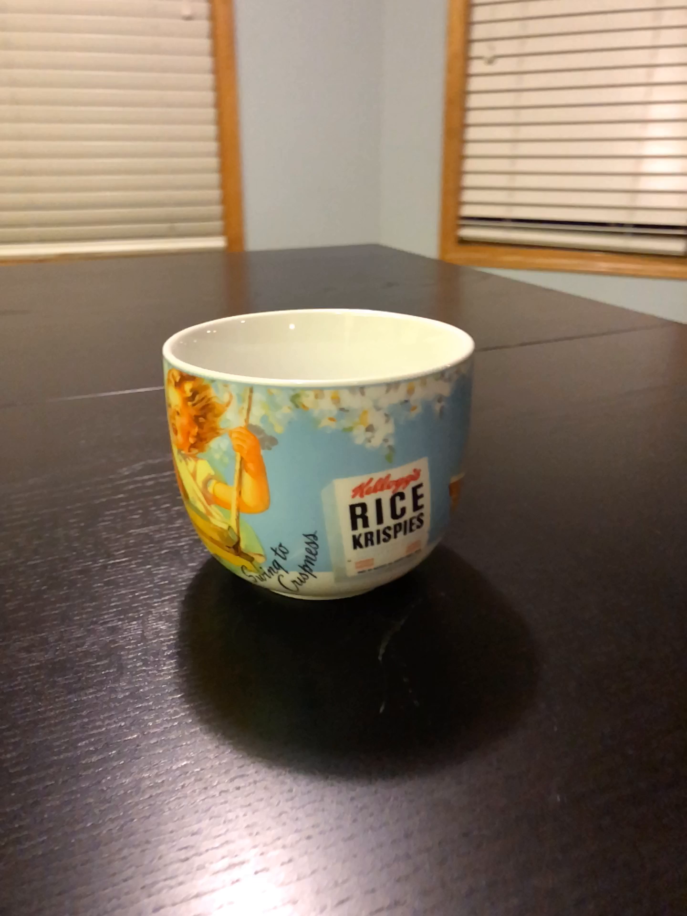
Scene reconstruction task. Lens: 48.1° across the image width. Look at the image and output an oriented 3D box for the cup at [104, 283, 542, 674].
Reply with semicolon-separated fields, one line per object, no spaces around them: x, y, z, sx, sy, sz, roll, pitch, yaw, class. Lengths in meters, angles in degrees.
-0.020;-0.010;0.306;0.120;0.090;0.151;-8;23;-20;cup
